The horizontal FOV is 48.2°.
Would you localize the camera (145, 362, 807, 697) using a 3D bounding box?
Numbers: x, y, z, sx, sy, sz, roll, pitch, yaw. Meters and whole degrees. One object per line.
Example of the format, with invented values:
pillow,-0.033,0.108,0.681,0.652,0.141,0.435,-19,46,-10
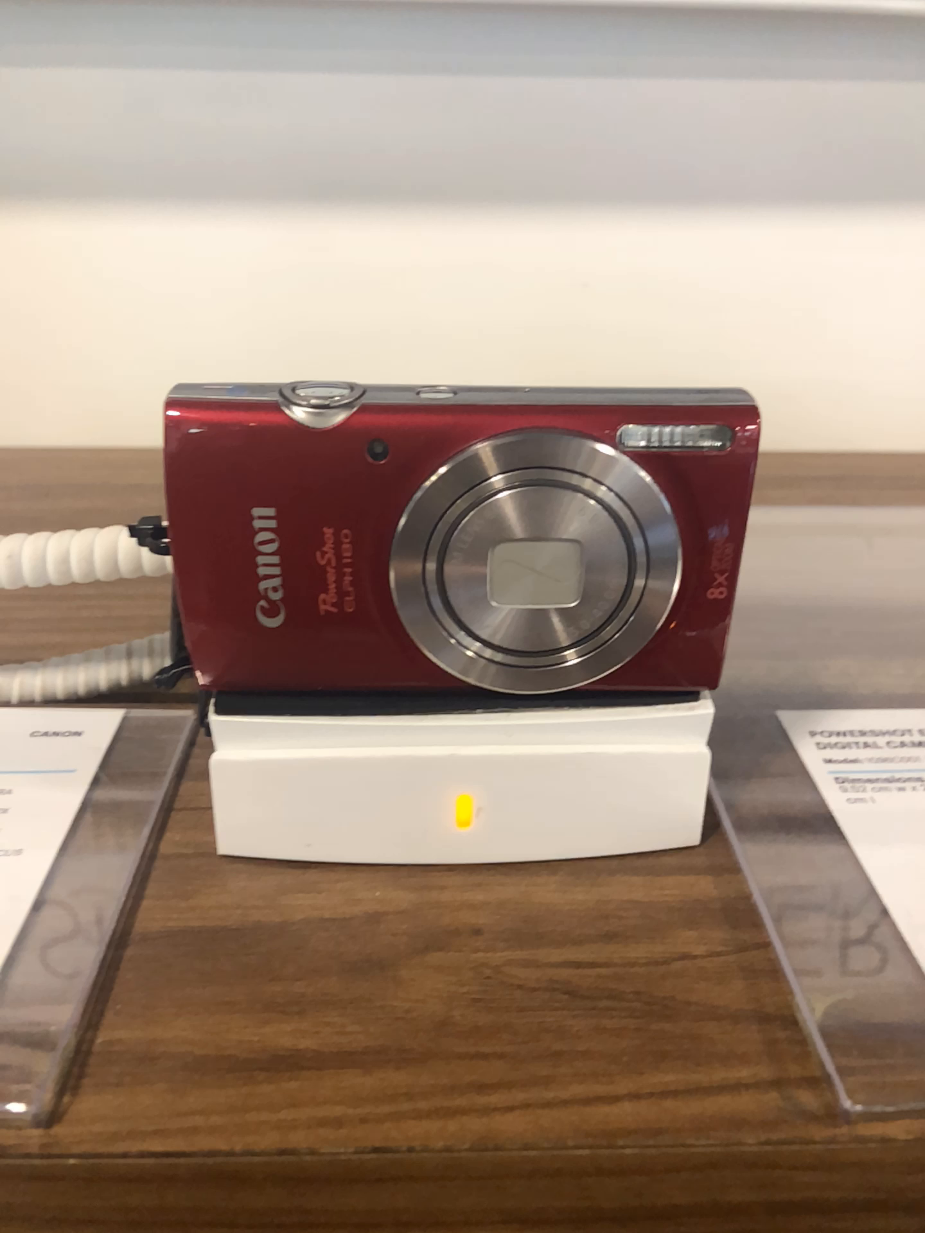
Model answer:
camera,0.002,-0.014,0.175,0.097,0.051,0.023,0,32,-2
